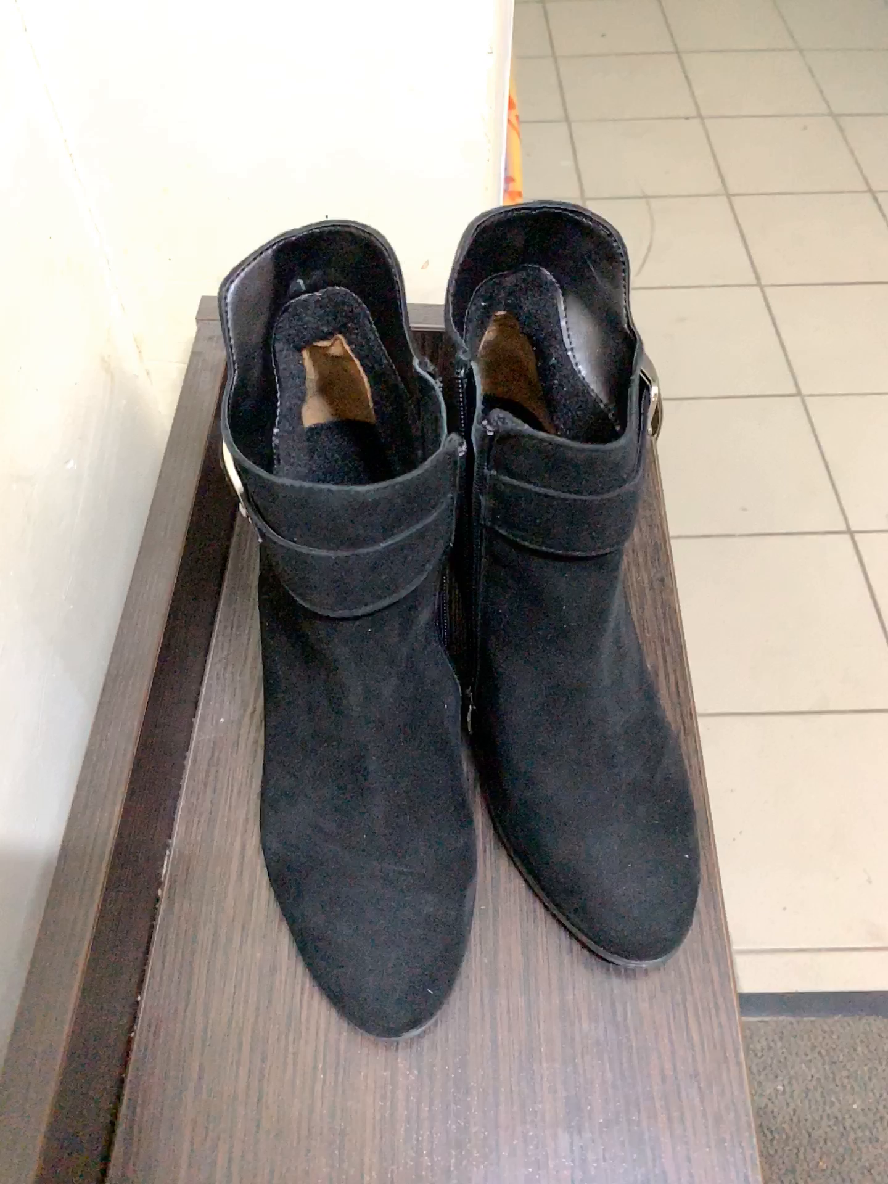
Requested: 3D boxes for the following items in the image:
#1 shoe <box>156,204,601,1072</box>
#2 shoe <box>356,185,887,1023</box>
[{"bbox_3d":[-0.034,0.019,0.332,0.088,0.189,0.241,-9,55,-6],"label":"shoe"},{"bbox_3d":[0.051,0.006,0.347,0.088,0.189,0.241,-17,56,-12],"label":"shoe"}]
